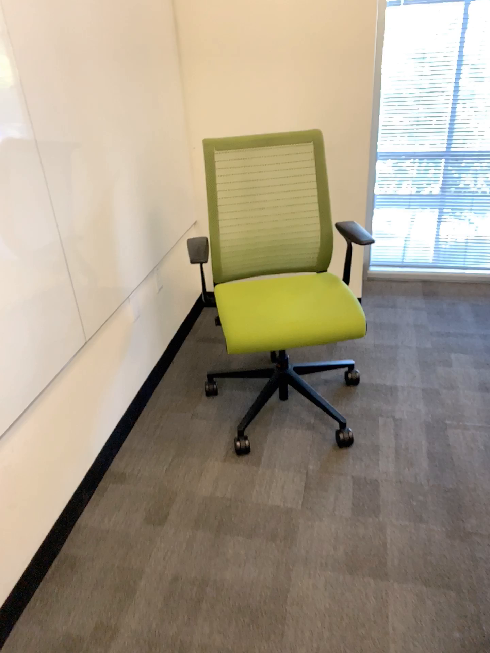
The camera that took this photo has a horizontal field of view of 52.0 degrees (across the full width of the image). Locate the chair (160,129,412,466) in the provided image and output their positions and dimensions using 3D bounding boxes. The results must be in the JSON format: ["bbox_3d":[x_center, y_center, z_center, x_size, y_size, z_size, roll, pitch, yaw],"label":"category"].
[{"bbox_3d":[0.107,-0.160,1.994,0.700,0.994,0.845,-6,30,-3],"label":"chair"}]
